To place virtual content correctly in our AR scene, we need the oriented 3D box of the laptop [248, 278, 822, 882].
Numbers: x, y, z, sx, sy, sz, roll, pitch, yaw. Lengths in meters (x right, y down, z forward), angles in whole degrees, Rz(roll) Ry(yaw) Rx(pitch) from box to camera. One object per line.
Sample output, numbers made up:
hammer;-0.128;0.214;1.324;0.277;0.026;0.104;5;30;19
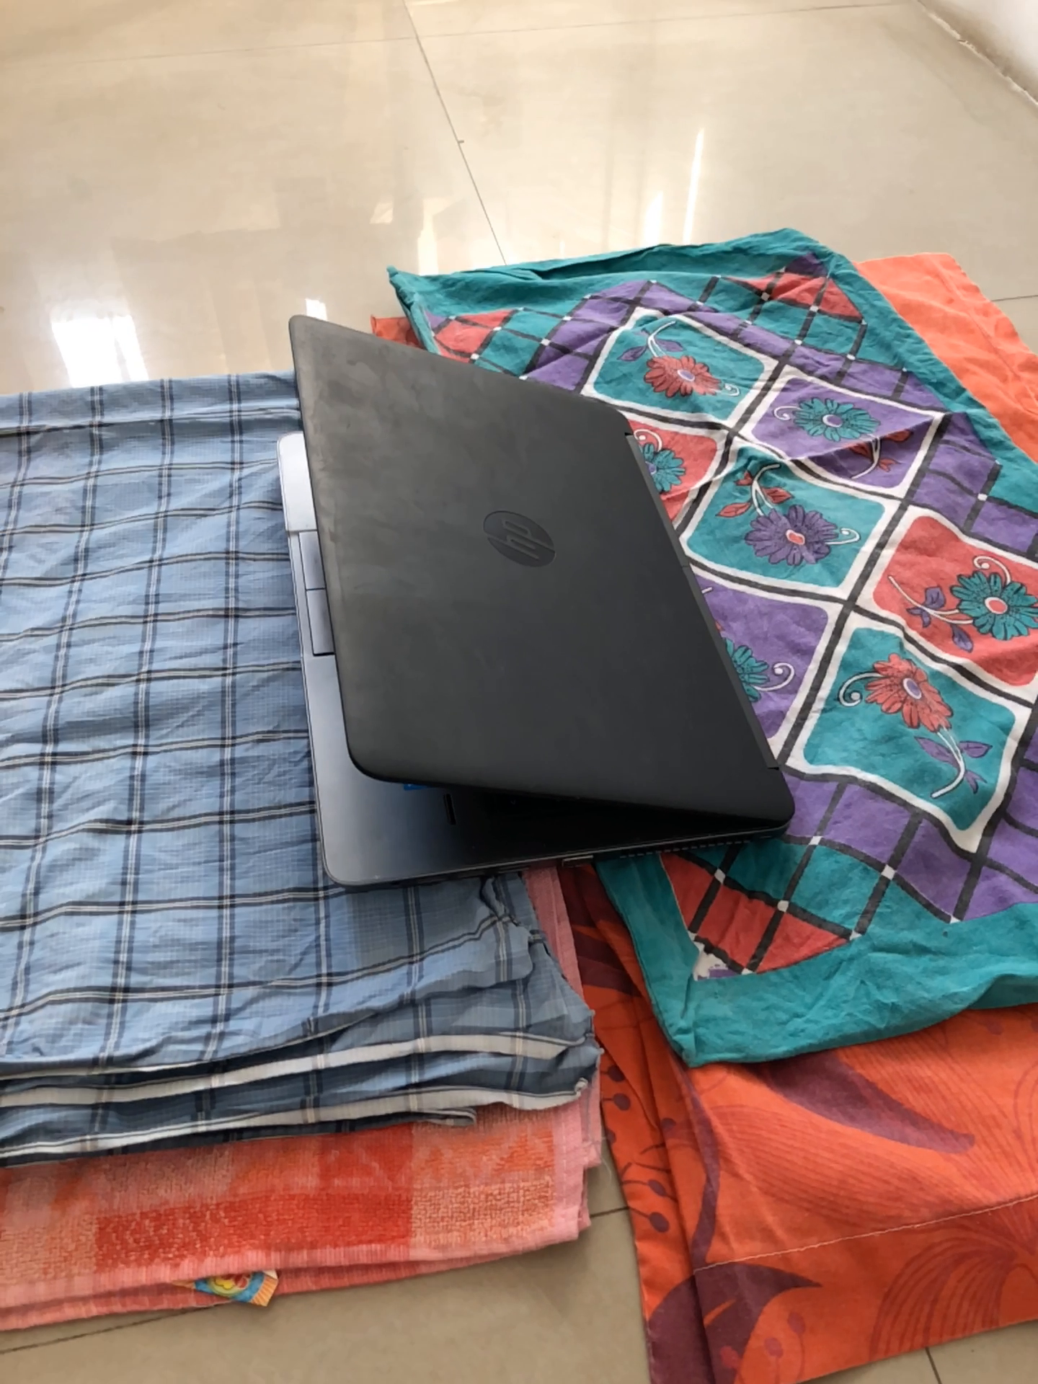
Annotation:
laptop;-0.010;-0.080;0.596;0.212;0.099;0.323;-6;52;-13
